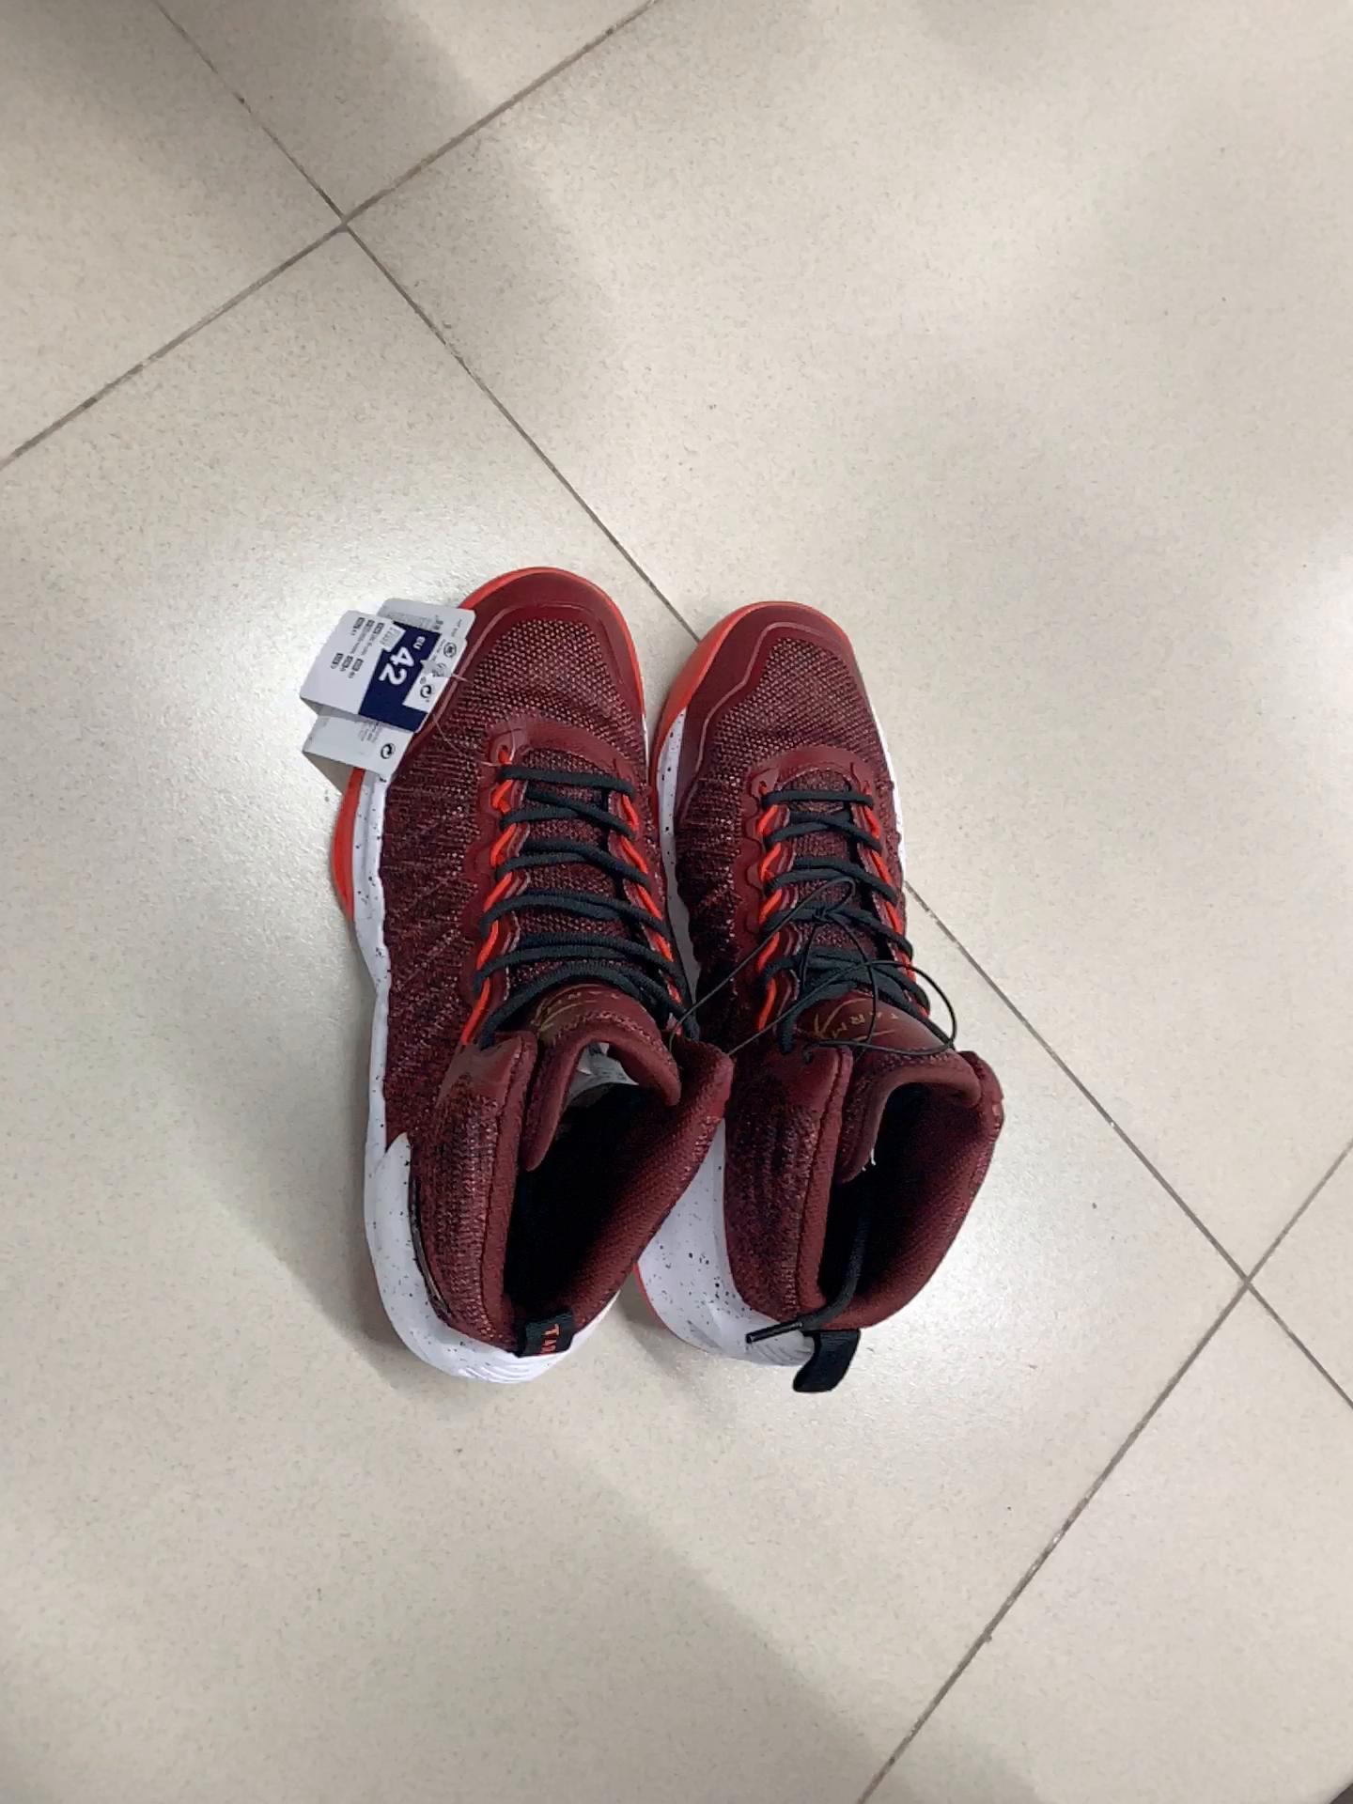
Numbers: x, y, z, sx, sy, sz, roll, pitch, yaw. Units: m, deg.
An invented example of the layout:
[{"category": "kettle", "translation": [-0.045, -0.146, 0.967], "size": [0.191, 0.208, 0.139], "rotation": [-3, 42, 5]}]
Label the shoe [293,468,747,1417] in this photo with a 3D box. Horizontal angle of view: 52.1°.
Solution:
[{"category": "shoe", "translation": [-0.058, 0.016, 0.477], "size": [0.120, 0.110, 0.280], "rotation": [5, 84, -16]}]

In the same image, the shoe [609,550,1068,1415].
[{"category": "shoe", "translation": [0.055, 0.030, 0.501], "size": [0.120, 0.110, 0.270], "rotation": [5, 84, -16]}]
